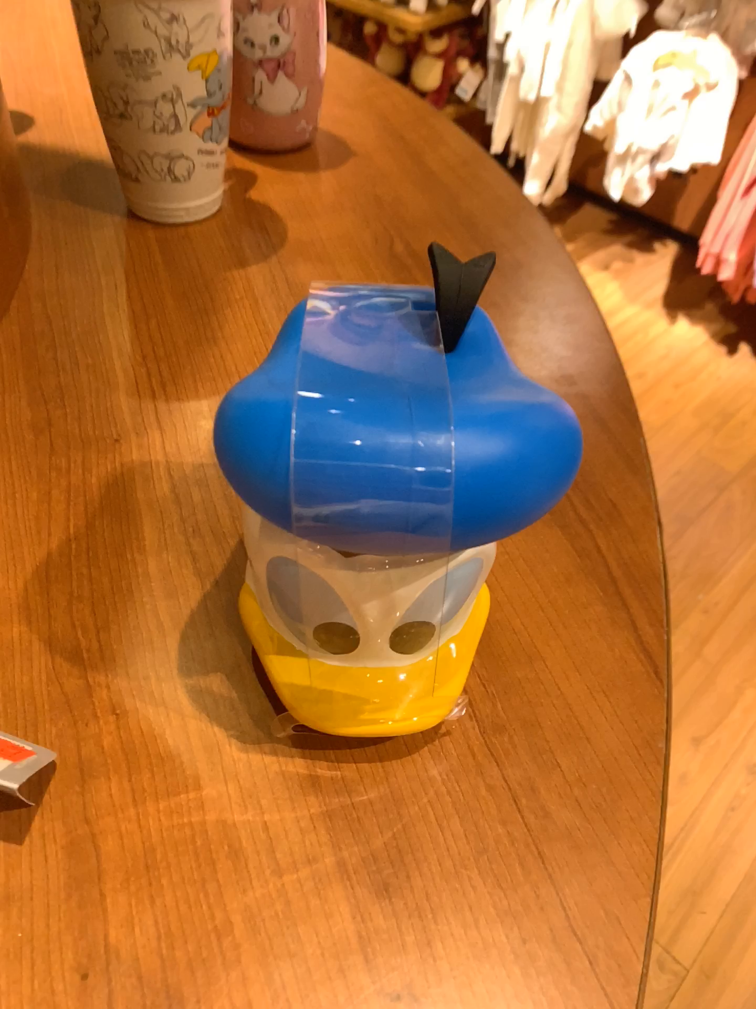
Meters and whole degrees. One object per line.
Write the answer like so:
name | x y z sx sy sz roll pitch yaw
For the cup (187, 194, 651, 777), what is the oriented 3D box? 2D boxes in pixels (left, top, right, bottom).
cup | 0.003 -0.004 0.274 0.105 0.132 0.151 2 51 -5
